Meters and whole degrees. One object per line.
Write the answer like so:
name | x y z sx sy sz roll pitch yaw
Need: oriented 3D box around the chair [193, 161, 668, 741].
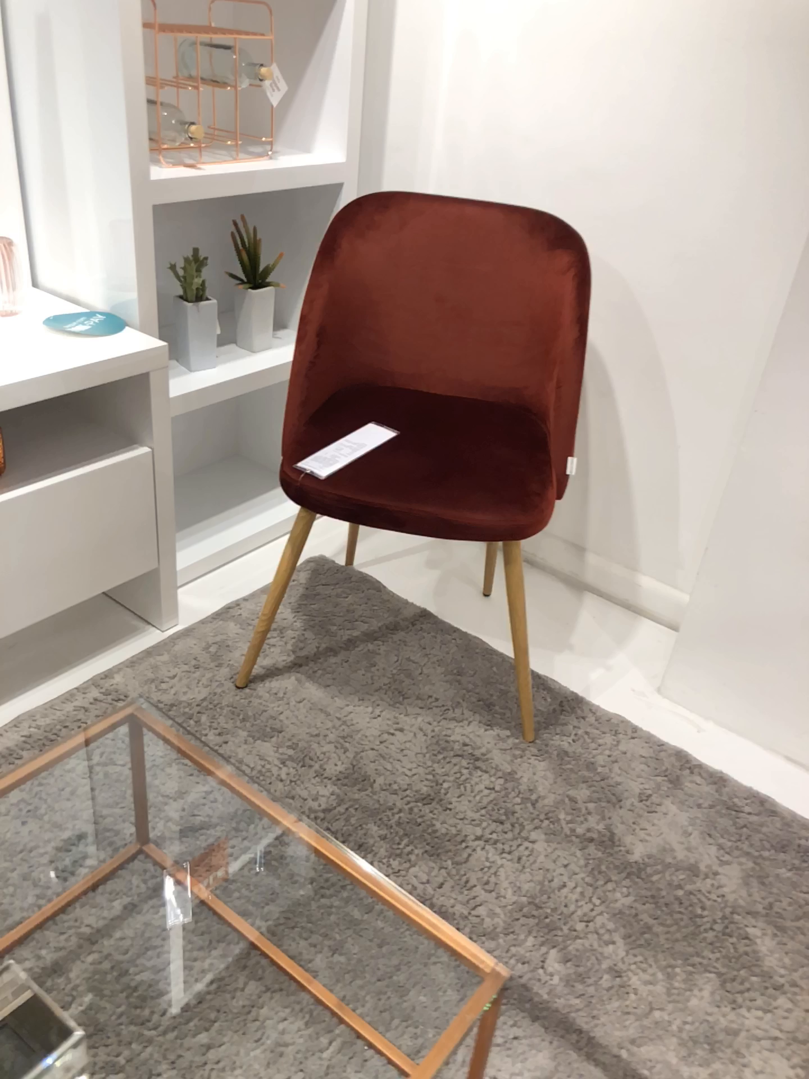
chair | 0.020 -0.188 1.560 0.590 0.734 0.655 8 31 1
